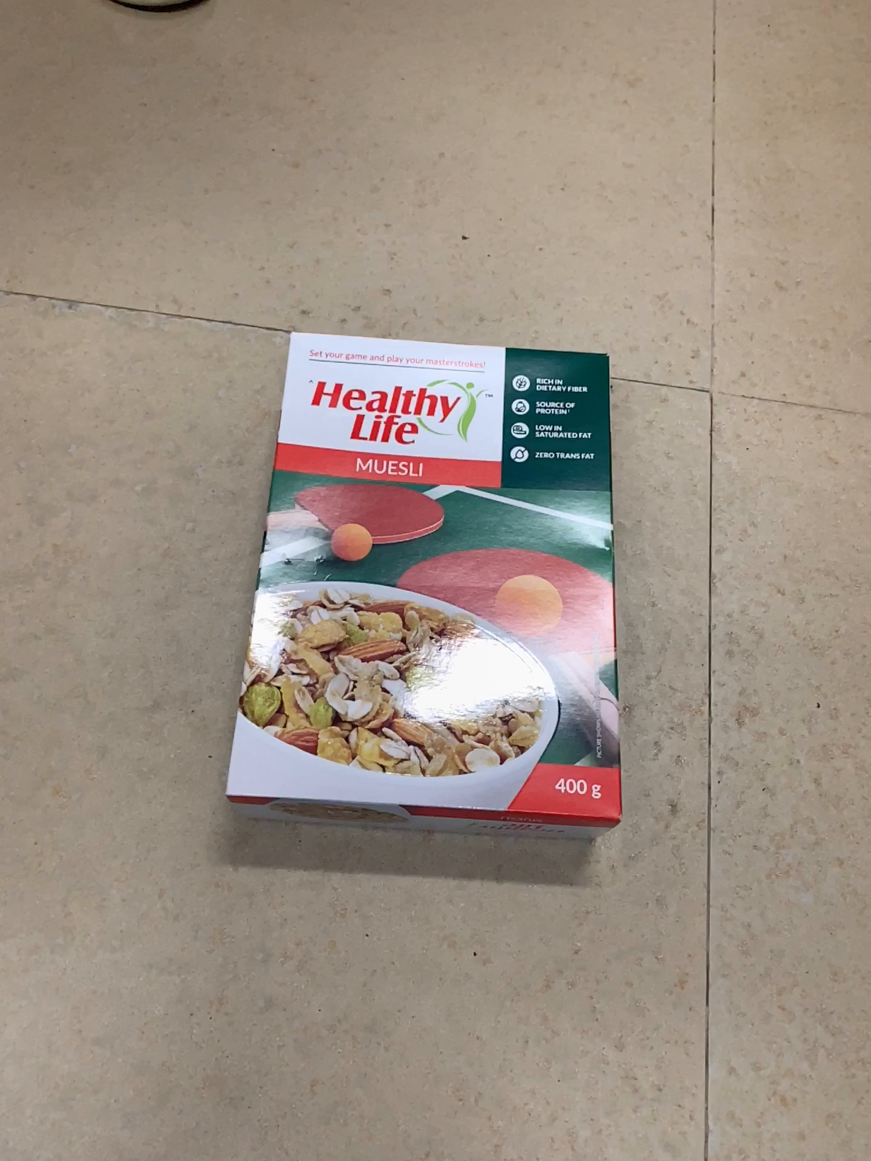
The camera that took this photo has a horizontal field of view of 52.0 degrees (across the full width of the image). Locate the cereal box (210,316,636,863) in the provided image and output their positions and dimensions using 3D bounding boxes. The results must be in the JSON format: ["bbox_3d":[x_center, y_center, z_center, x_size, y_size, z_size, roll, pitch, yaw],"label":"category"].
[{"bbox_3d":[-0.001,0.003,0.416,0.160,0.080,0.230,4,67,-3],"label":"cereal box"}]
